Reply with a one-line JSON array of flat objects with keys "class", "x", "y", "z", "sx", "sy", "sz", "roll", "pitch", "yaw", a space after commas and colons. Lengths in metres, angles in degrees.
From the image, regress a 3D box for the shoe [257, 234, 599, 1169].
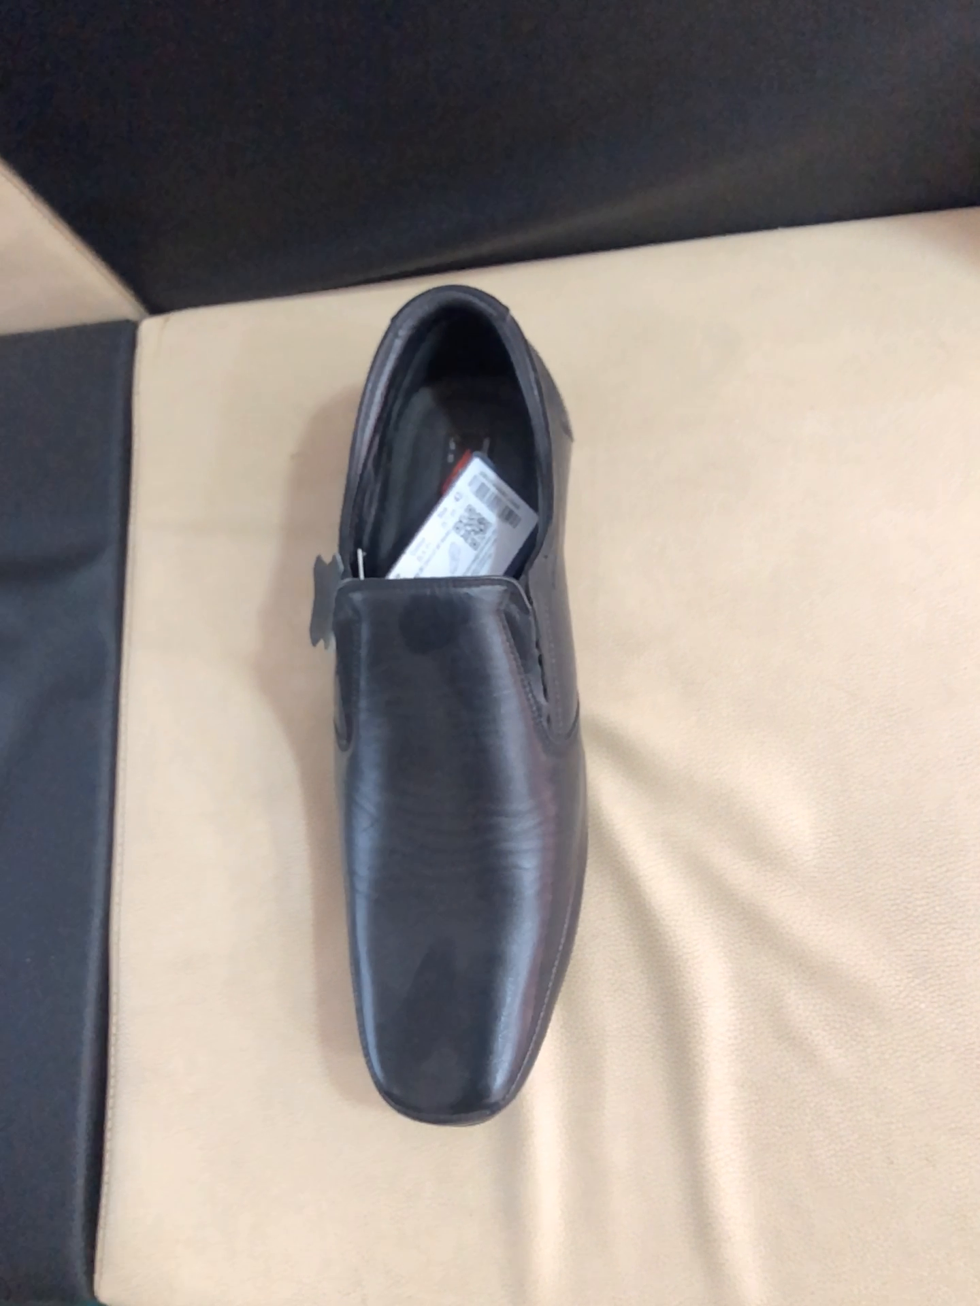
[{"class": "shoe", "x": -0.013, "y": 0.012, "z": 0.421, "sx": 0.100, "sy": 0.090, "sz": 0.320, "roll": -2, "pitch": 77, "yaw": 12}]
